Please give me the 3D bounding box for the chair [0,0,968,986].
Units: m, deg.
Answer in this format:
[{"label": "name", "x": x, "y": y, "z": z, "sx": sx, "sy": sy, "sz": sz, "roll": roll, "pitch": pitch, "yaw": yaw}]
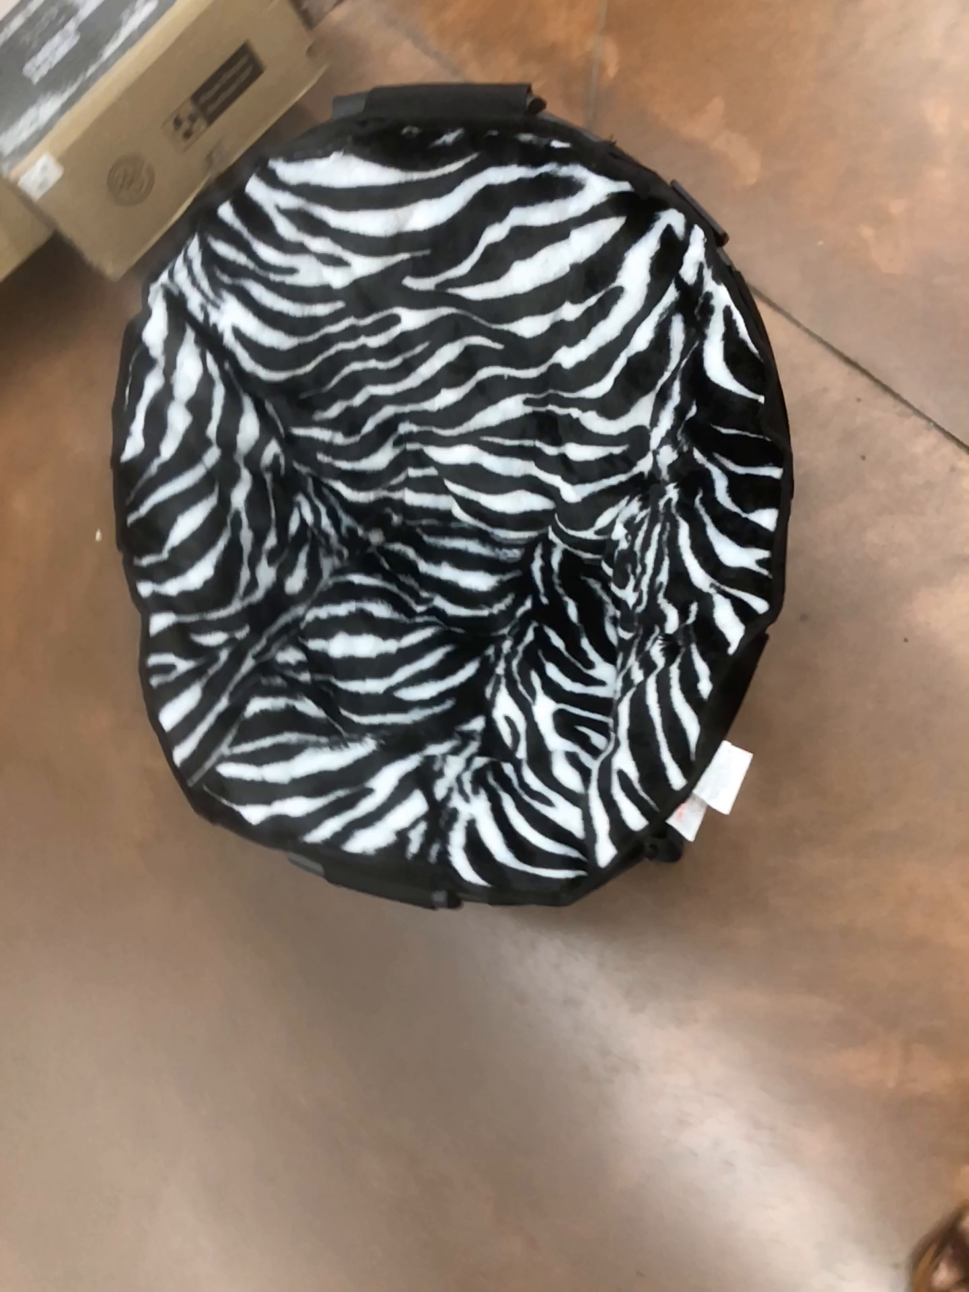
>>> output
[{"label": "chair", "x": 0.041, "y": -0.091, "z": 0.963, "sx": 0.611, "sy": 0.599, "sz": 0.600, "roll": 10, "pitch": 76, "yaw": 22}]
